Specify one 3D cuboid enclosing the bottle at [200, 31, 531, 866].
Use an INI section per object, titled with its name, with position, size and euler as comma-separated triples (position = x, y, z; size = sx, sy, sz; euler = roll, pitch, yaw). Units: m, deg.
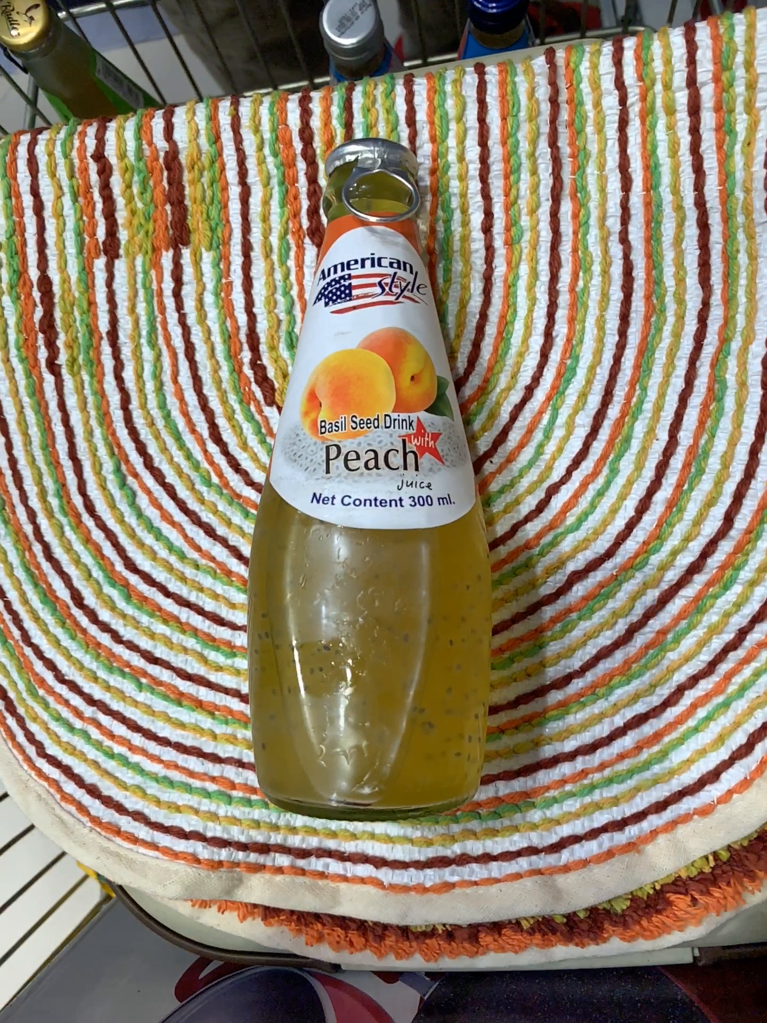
[bottle]
position = -0.005, -0.017, 0.217
size = 0.070, 0.060, 0.200
euler = 4, 77, -10
